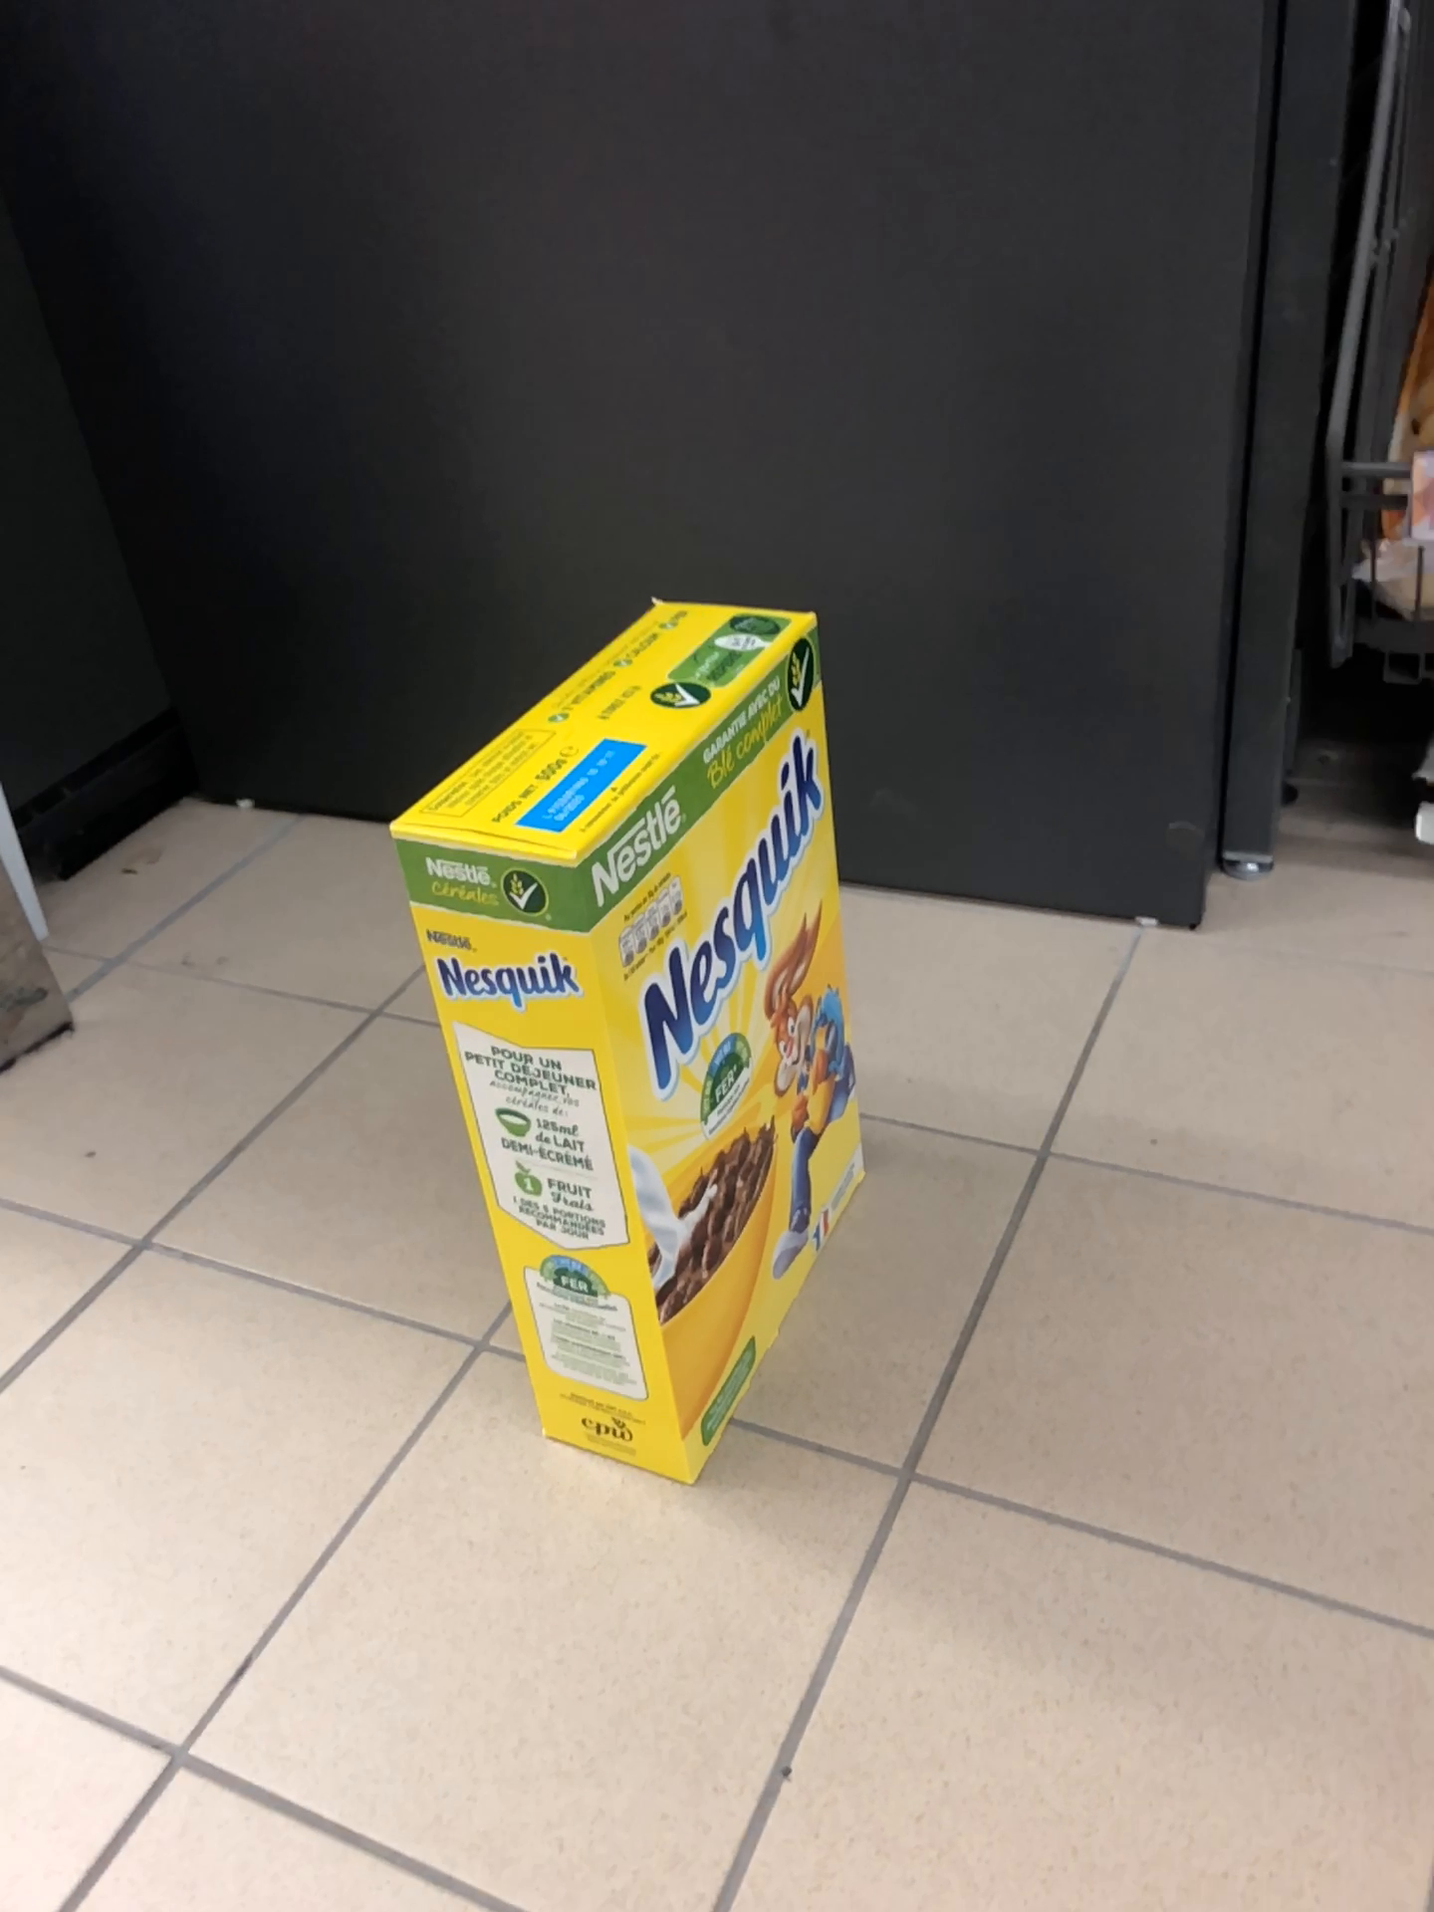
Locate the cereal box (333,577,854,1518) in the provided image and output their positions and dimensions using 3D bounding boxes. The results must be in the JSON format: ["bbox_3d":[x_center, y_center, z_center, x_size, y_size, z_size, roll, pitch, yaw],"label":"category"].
[{"bbox_3d":[-0.025,0.034,0.616,0.070,0.298,0.201,10,37,24],"label":"cereal box"}]
